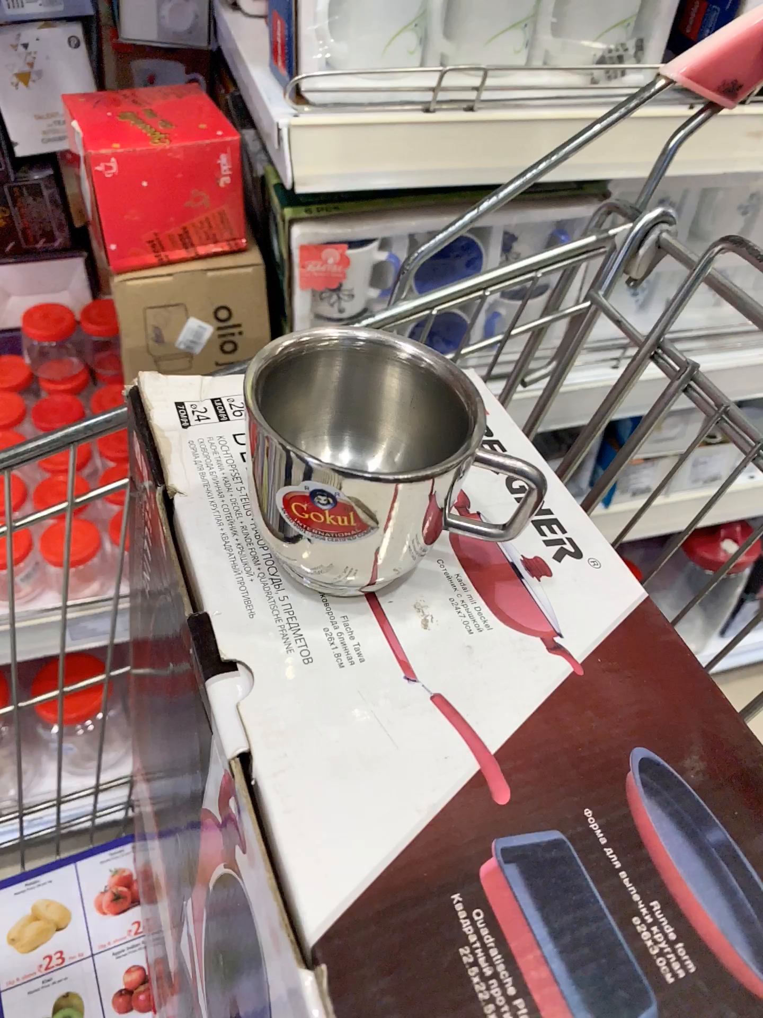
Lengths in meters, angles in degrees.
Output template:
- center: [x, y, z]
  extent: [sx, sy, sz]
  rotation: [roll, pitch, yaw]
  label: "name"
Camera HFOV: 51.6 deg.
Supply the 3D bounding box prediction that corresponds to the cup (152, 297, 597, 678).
- center: [0.001, -0.008, 0.200]
  extent: [0.090, 0.050, 0.060]
  rotation: [14, 47, 8]
  label: "cup"
